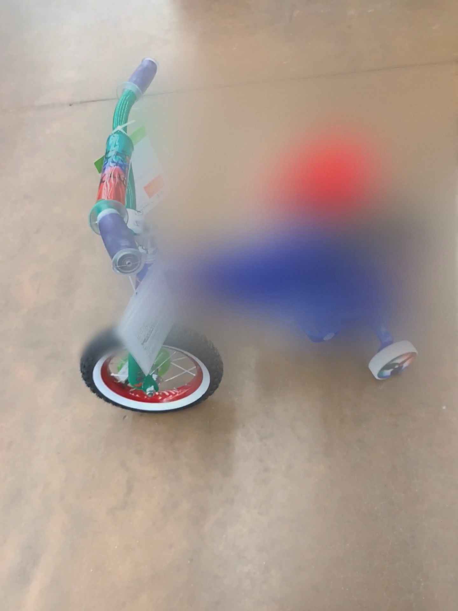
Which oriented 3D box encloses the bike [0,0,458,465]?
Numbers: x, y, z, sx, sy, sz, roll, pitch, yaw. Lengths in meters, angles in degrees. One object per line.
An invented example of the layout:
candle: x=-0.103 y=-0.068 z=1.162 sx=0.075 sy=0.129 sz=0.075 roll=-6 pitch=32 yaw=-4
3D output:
bike: x=0.033 y=-0.130 z=0.927 sx=0.793 sy=0.695 sz=0.466 roll=-20 pitch=56 yaw=-3
